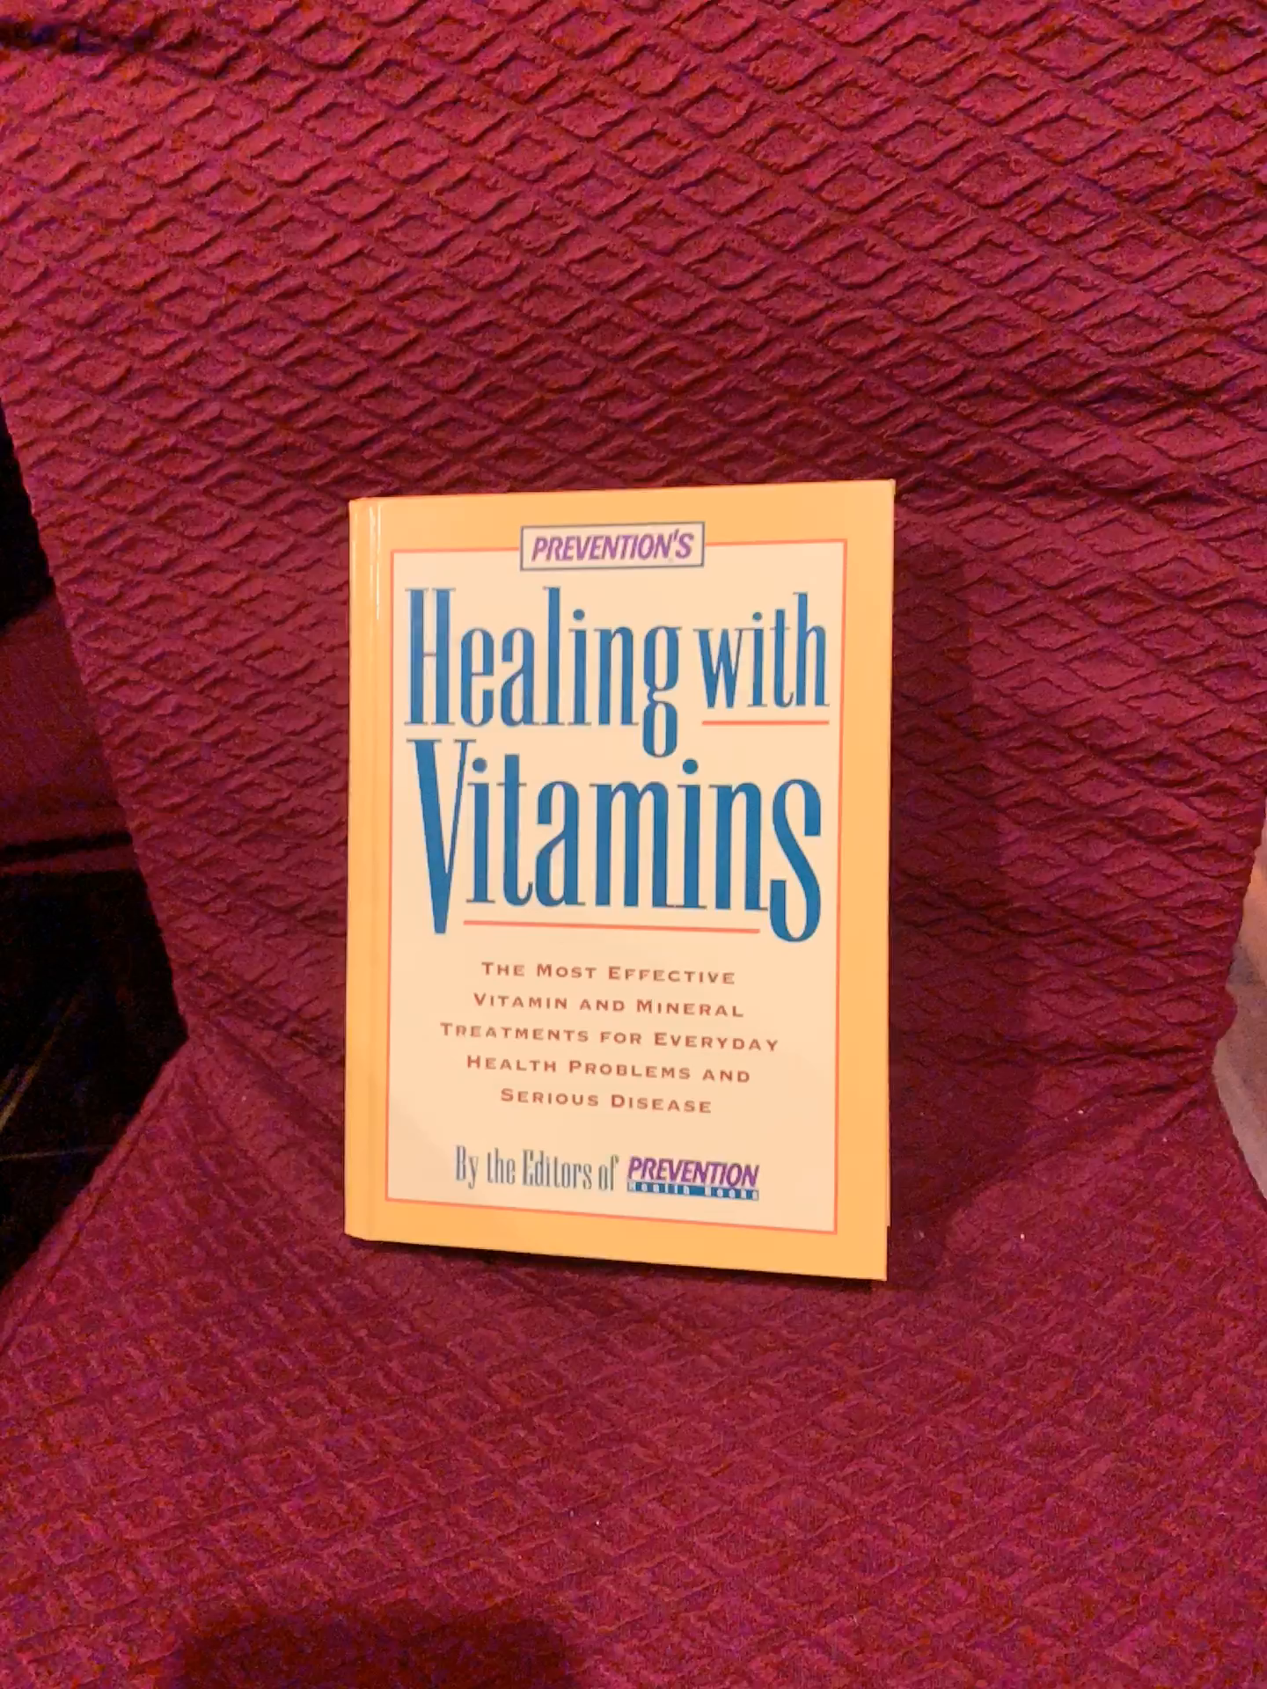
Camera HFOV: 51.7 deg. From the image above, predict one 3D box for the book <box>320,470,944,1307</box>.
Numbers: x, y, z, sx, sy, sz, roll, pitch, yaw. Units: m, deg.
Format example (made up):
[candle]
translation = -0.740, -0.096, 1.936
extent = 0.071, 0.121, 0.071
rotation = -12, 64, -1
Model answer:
[book]
translation = -0.001, 0.012, 0.413
extent = 0.190, 0.240, 0.040
rotation = 1, 1, 12
